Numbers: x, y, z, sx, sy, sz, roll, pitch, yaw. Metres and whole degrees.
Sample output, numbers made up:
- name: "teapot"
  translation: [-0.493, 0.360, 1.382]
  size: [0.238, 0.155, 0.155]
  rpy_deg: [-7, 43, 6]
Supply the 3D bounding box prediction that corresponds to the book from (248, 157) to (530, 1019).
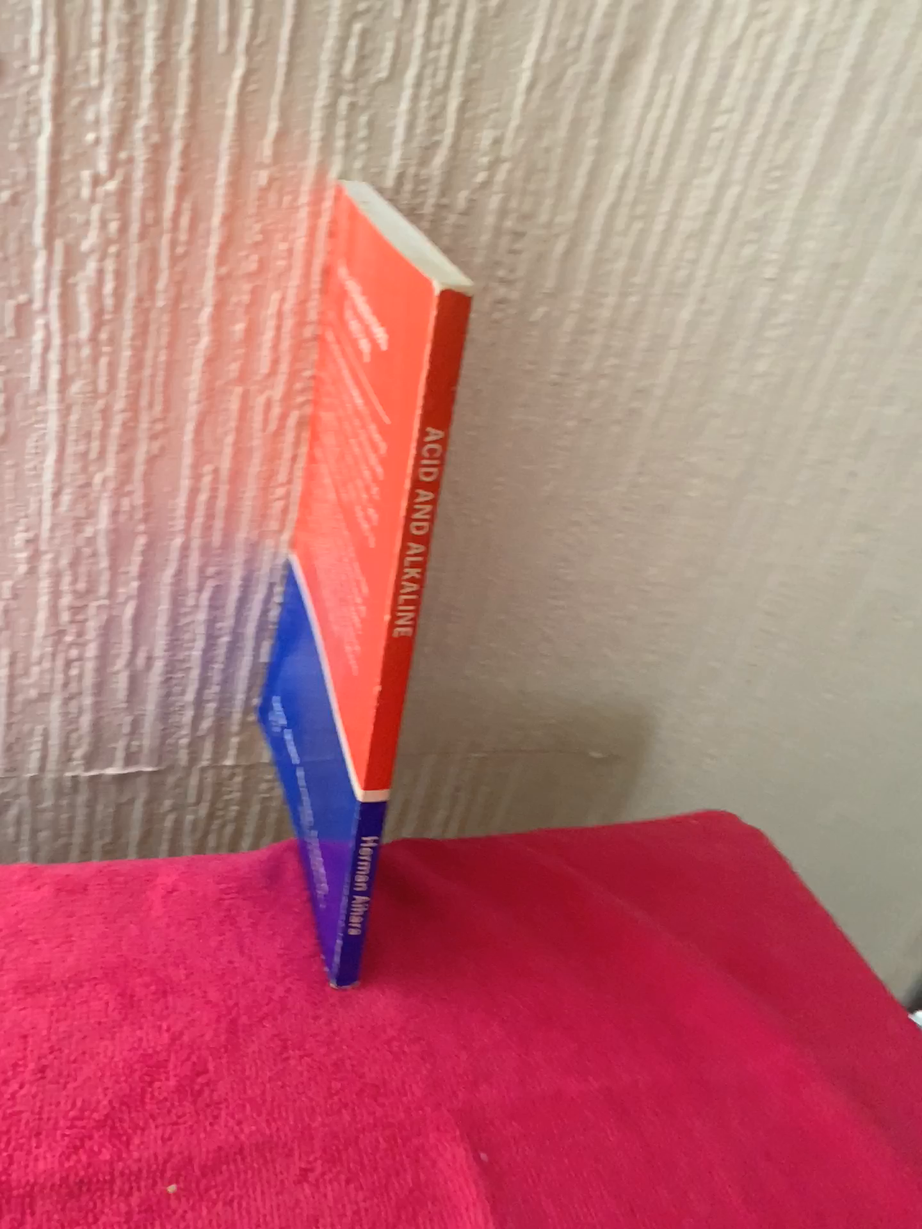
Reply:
- name: "book"
  translation: [-0.038, -0.012, 0.287]
  size: [0.020, 0.208, 0.151]
  rpy_deg: [0, 32, -21]
